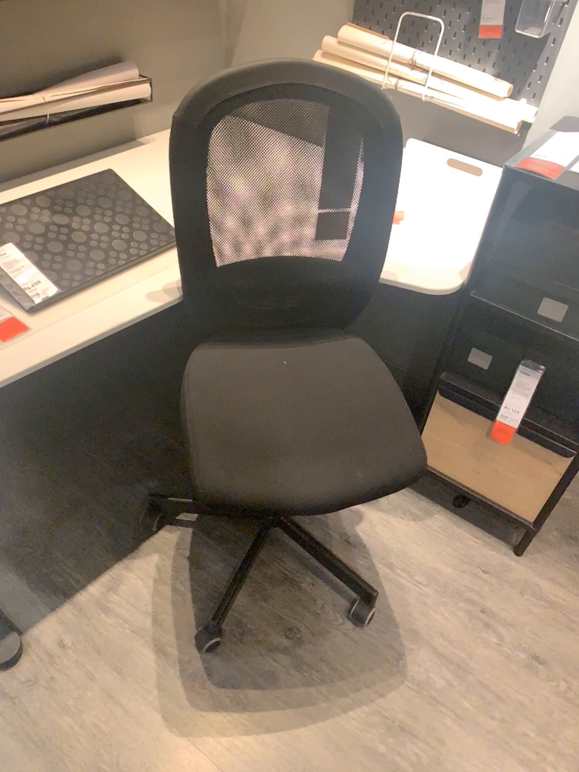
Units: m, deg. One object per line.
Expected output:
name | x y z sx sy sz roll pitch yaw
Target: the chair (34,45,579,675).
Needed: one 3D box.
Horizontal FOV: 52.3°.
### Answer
chair | -0.021 -0.031 1.214 0.690 0.996 0.713 -4 44 -12
